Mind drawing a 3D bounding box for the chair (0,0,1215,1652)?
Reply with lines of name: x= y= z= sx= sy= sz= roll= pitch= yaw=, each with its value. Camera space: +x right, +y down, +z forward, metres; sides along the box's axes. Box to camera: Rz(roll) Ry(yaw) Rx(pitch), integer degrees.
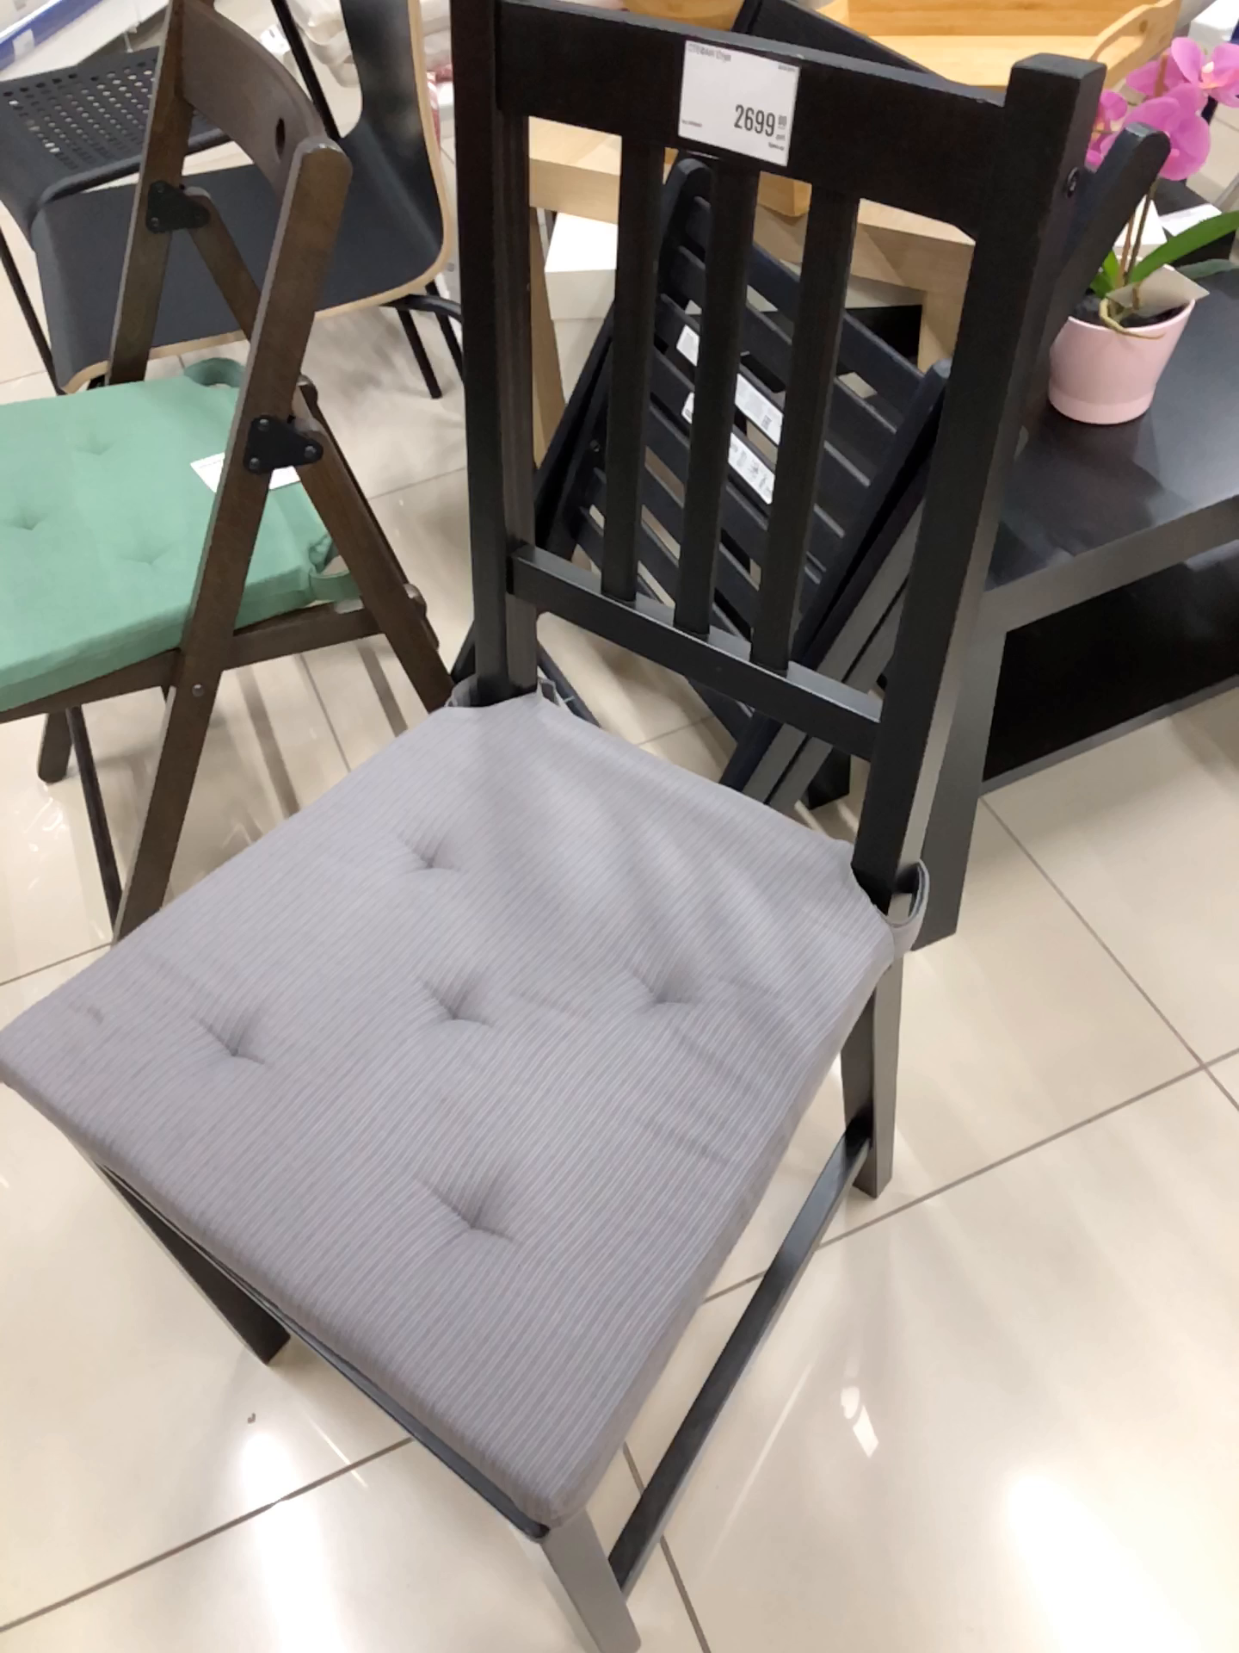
chair: x=-0.056 y=0.090 z=0.802 sx=0.411 sy=0.894 sz=0.492 roll=28 pitch=58 yaw=27
